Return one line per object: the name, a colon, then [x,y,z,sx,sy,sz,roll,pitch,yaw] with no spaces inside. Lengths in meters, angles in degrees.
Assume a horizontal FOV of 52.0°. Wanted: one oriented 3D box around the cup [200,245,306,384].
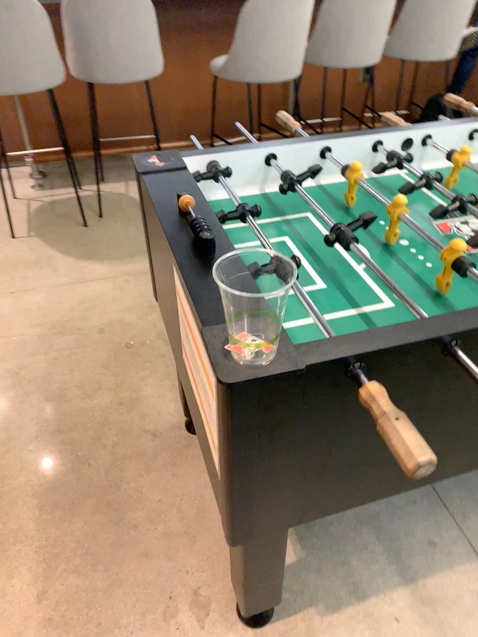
cup: [0.013,-0.007,0.590,0.100,0.119,0.101,0,39,0]
